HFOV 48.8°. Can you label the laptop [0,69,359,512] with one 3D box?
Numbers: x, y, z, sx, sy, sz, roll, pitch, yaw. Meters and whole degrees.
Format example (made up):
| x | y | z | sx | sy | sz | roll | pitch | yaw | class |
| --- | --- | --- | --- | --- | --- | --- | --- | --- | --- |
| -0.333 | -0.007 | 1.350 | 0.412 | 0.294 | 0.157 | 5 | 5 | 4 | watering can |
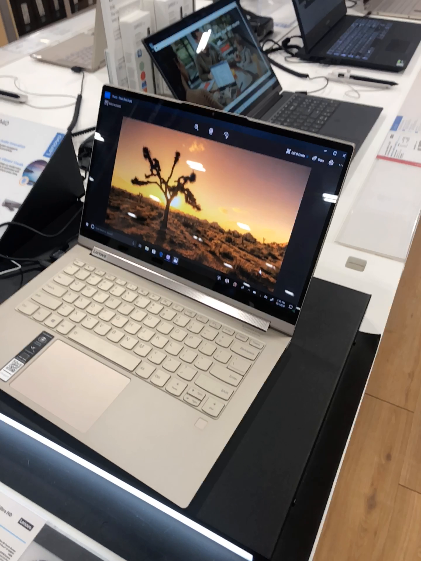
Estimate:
| x | y | z | sx | sy | sz | roll | pitch | yaw | class |
| --- | --- | --- | --- | --- | --- | --- | --- | --- | --- |
| -0.073 | -0.038 | 0.480 | 0.320 | 0.170 | 0.327 | 23 | 52 | 24 | laptop |
